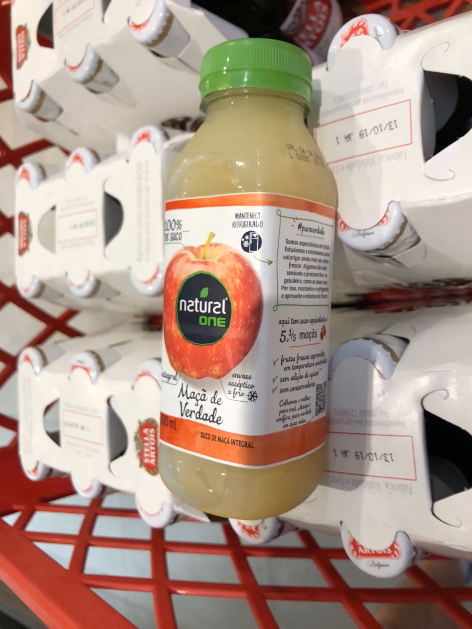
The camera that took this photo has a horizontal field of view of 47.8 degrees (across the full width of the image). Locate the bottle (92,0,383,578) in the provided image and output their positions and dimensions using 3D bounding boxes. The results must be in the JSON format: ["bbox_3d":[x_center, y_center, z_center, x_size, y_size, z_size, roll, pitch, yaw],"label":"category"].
[{"bbox_3d":[0.000,-0.021,0.181,0.060,0.060,0.180,7,93,41],"label":"bottle"}]
